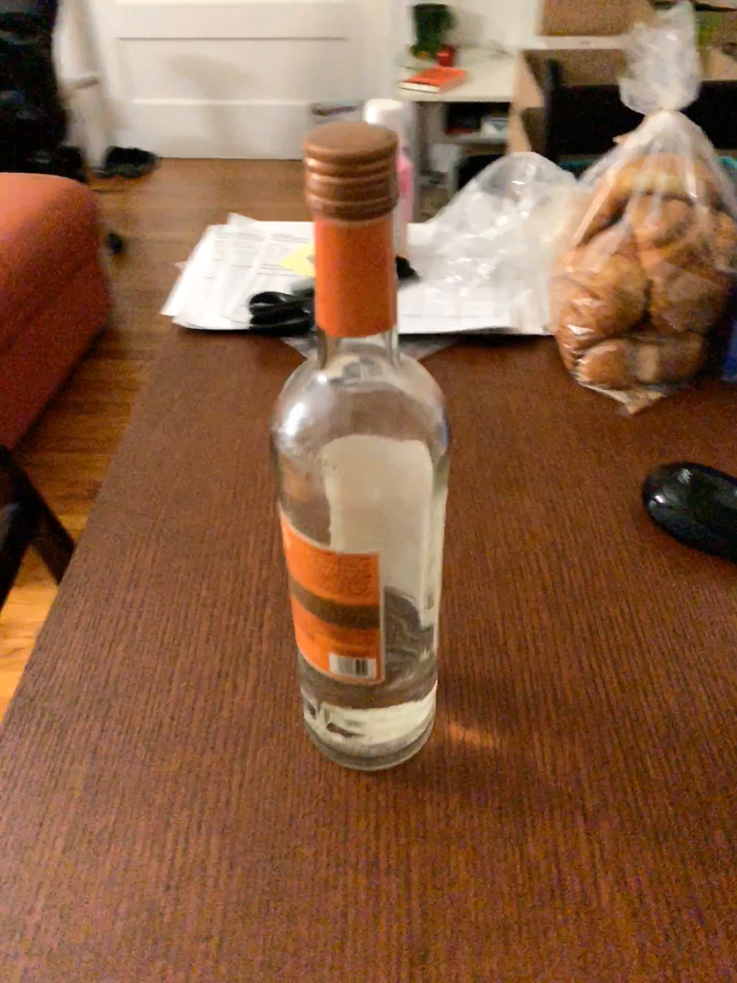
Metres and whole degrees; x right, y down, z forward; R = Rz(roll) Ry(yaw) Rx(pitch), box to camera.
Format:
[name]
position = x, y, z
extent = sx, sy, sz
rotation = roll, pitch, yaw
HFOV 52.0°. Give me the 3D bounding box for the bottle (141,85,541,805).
[bottle]
position = -0.007, 0.006, 0.325
extent = 0.090, 0.298, 0.080
rotation = 32, 51, 32
